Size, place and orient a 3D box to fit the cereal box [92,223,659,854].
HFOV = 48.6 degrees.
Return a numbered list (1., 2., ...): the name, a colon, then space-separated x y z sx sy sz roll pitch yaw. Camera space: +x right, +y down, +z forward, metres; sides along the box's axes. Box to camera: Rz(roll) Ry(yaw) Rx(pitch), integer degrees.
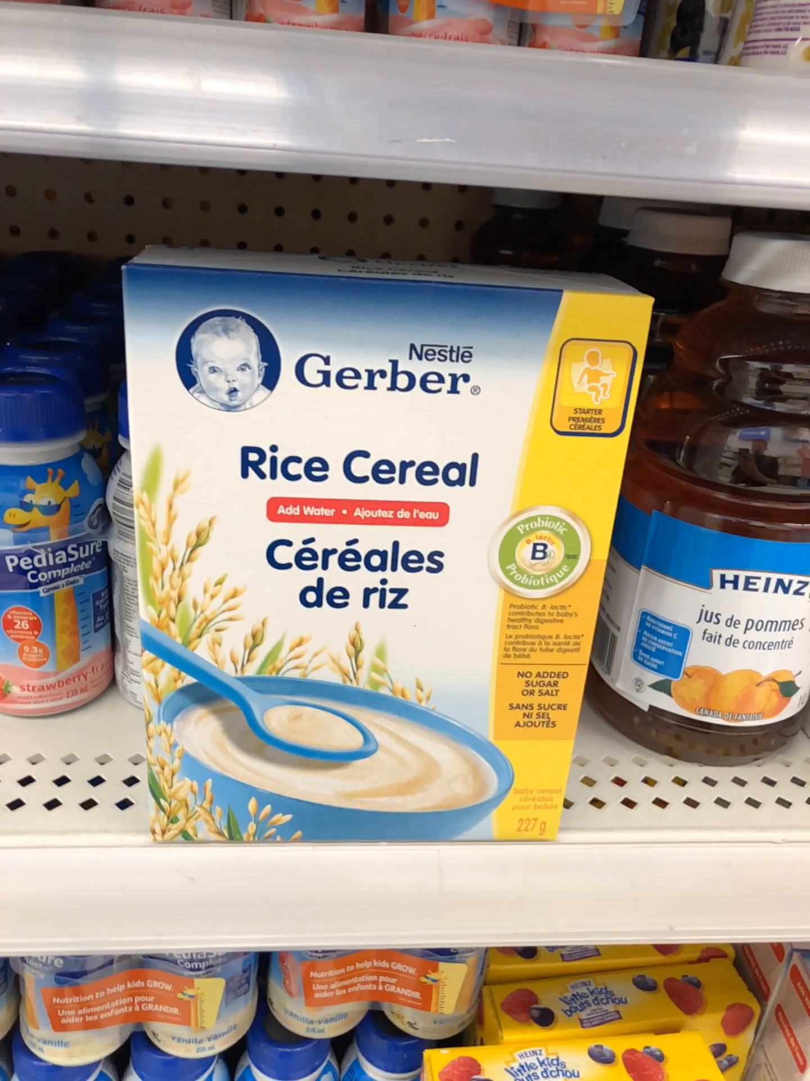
1. cereal box: -0.017 0.007 0.304 0.150 0.199 0.060 2 24 -8
